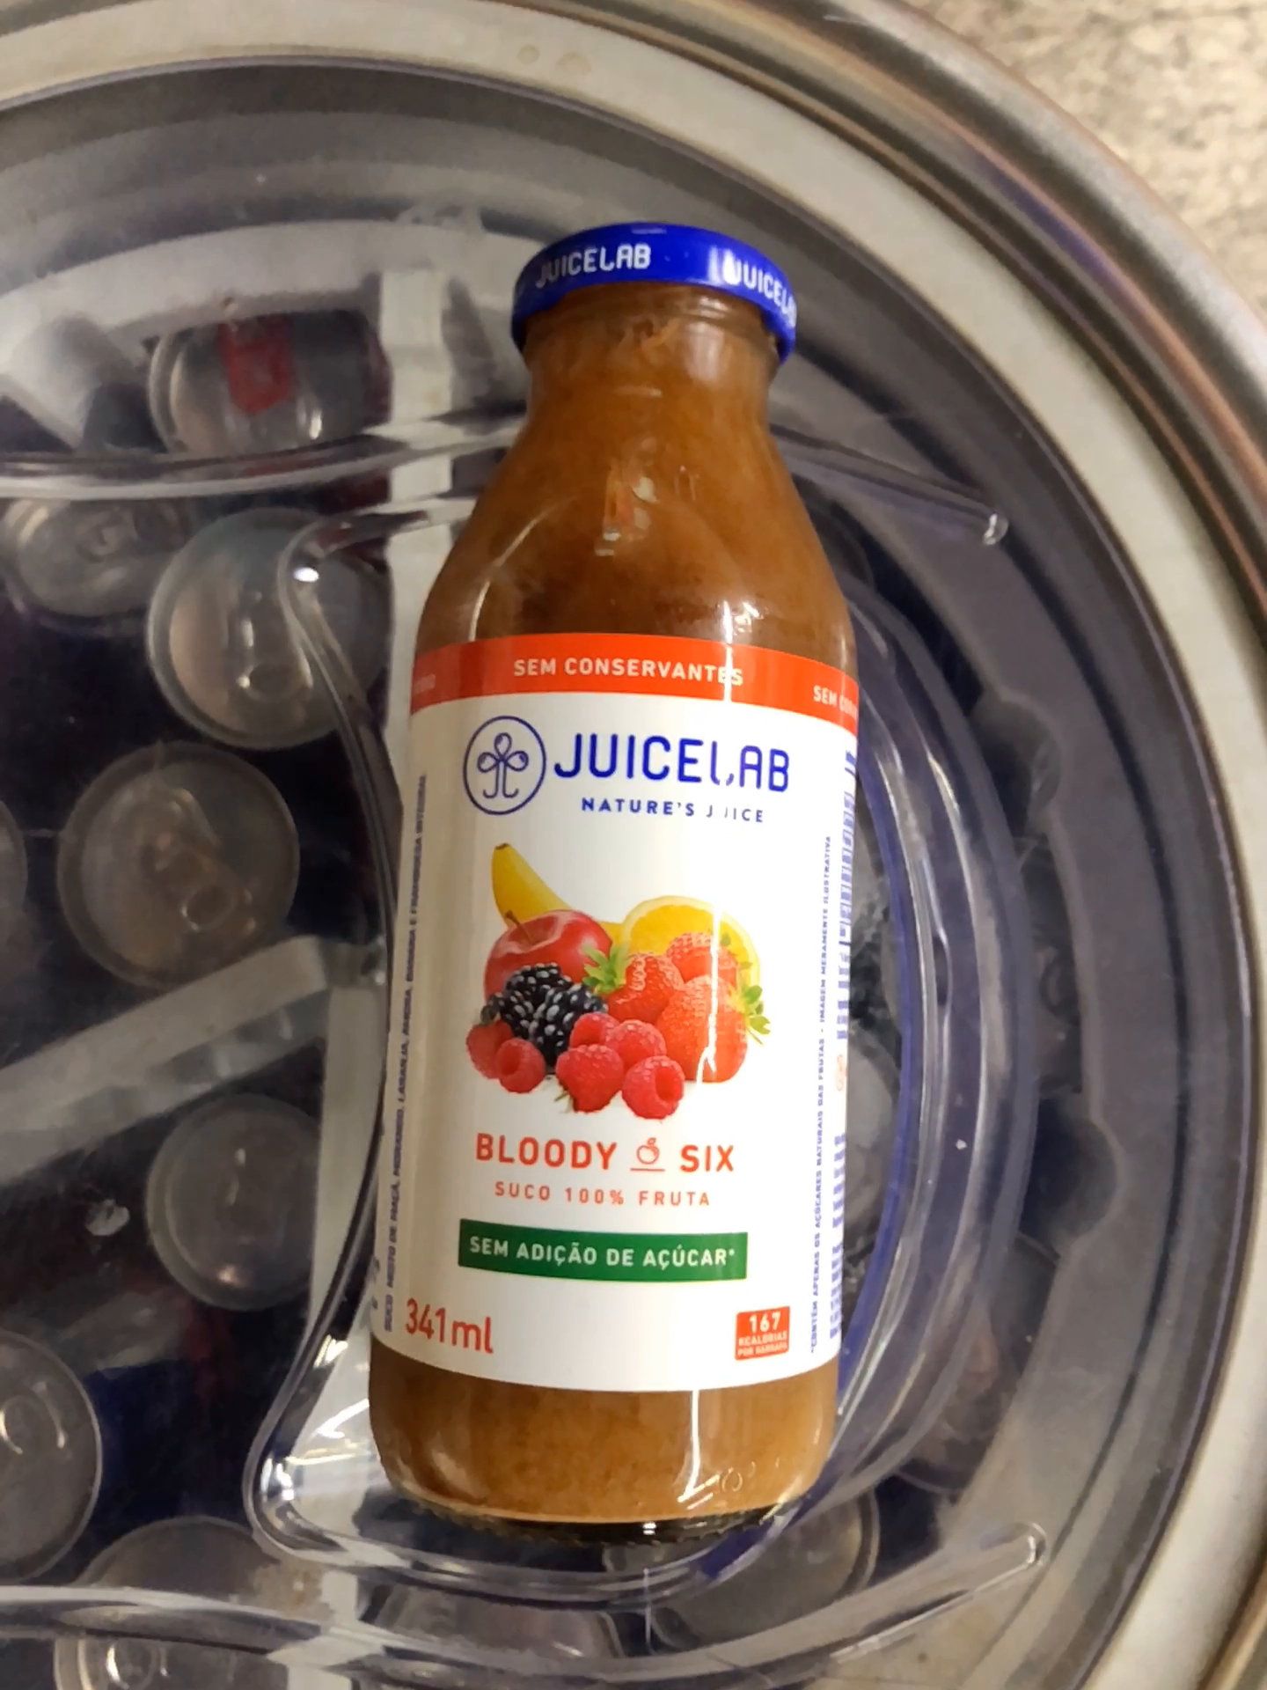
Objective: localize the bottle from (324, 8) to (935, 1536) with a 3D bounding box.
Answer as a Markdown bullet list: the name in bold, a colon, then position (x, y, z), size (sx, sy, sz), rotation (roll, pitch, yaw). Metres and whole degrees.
- **bottle**: position (0.000, -0.010, 0.208), size (0.070, 0.060, 0.190), rotation (3, 82, -6)
